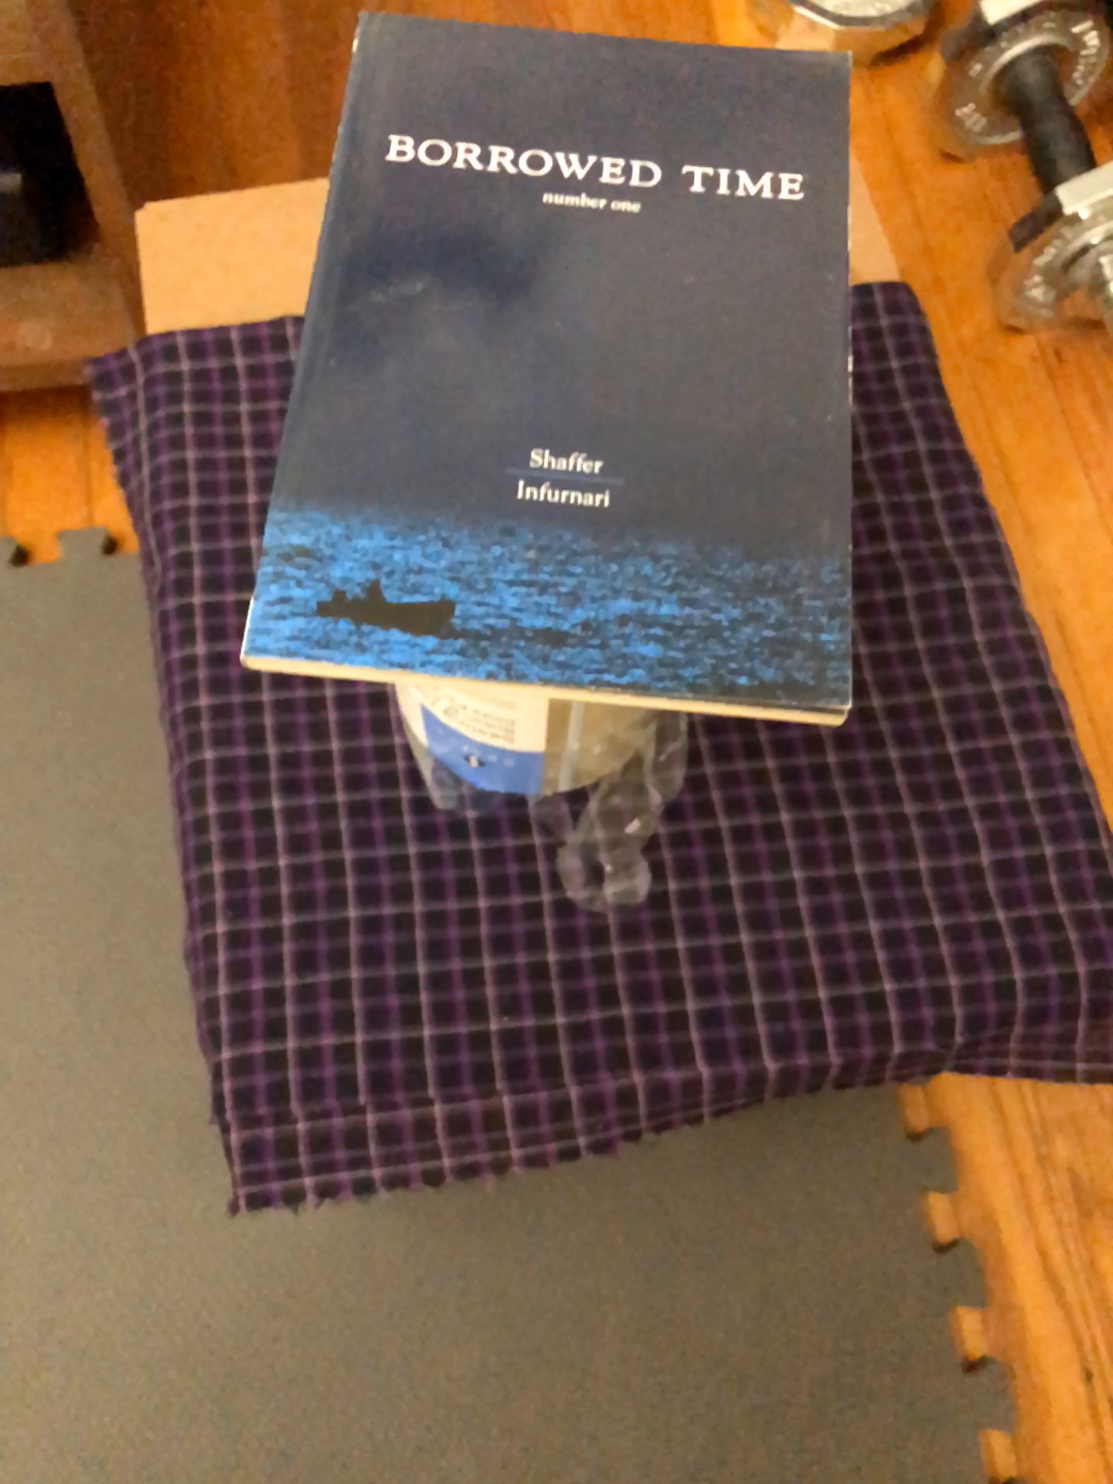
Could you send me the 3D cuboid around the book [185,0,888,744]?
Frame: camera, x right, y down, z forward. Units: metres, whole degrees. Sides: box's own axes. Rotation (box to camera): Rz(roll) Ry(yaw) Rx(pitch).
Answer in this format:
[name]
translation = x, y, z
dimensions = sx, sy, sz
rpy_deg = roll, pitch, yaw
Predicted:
[book]
translation = 0.004, -0.114, 0.331
dimensions = 0.160, 0.010, 0.231
rpy_deg = 5, 67, -1
